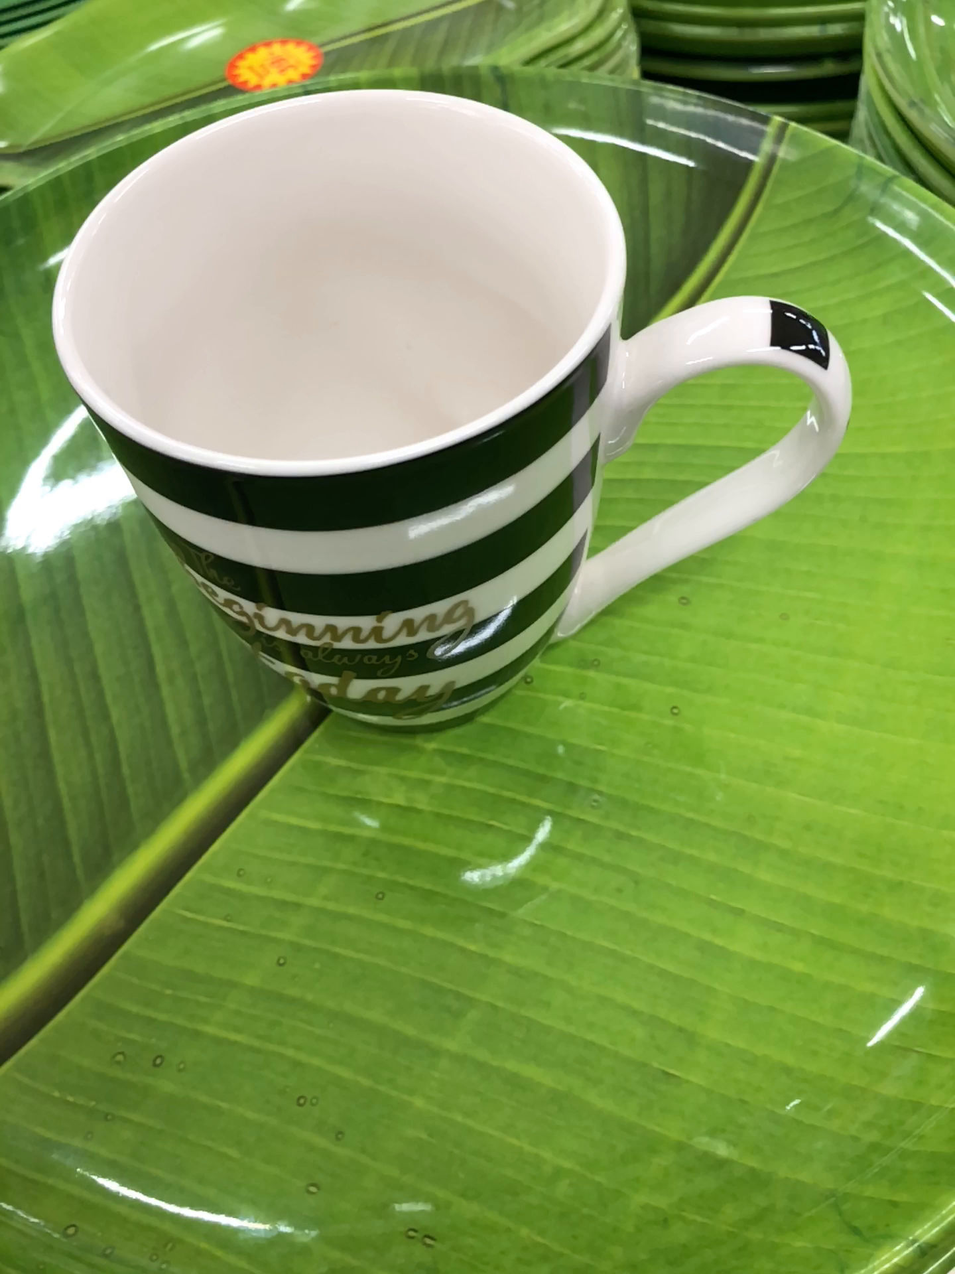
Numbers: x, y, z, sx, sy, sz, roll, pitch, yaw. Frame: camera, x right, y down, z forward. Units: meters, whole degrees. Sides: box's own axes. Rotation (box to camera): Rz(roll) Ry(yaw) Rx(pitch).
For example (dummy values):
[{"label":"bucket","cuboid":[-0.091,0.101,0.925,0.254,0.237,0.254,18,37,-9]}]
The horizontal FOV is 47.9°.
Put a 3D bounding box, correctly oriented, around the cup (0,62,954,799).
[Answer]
[{"label":"cup","cuboid":[0.006,-0.028,0.173,0.130,0.080,0.080,0,56,5]}]
